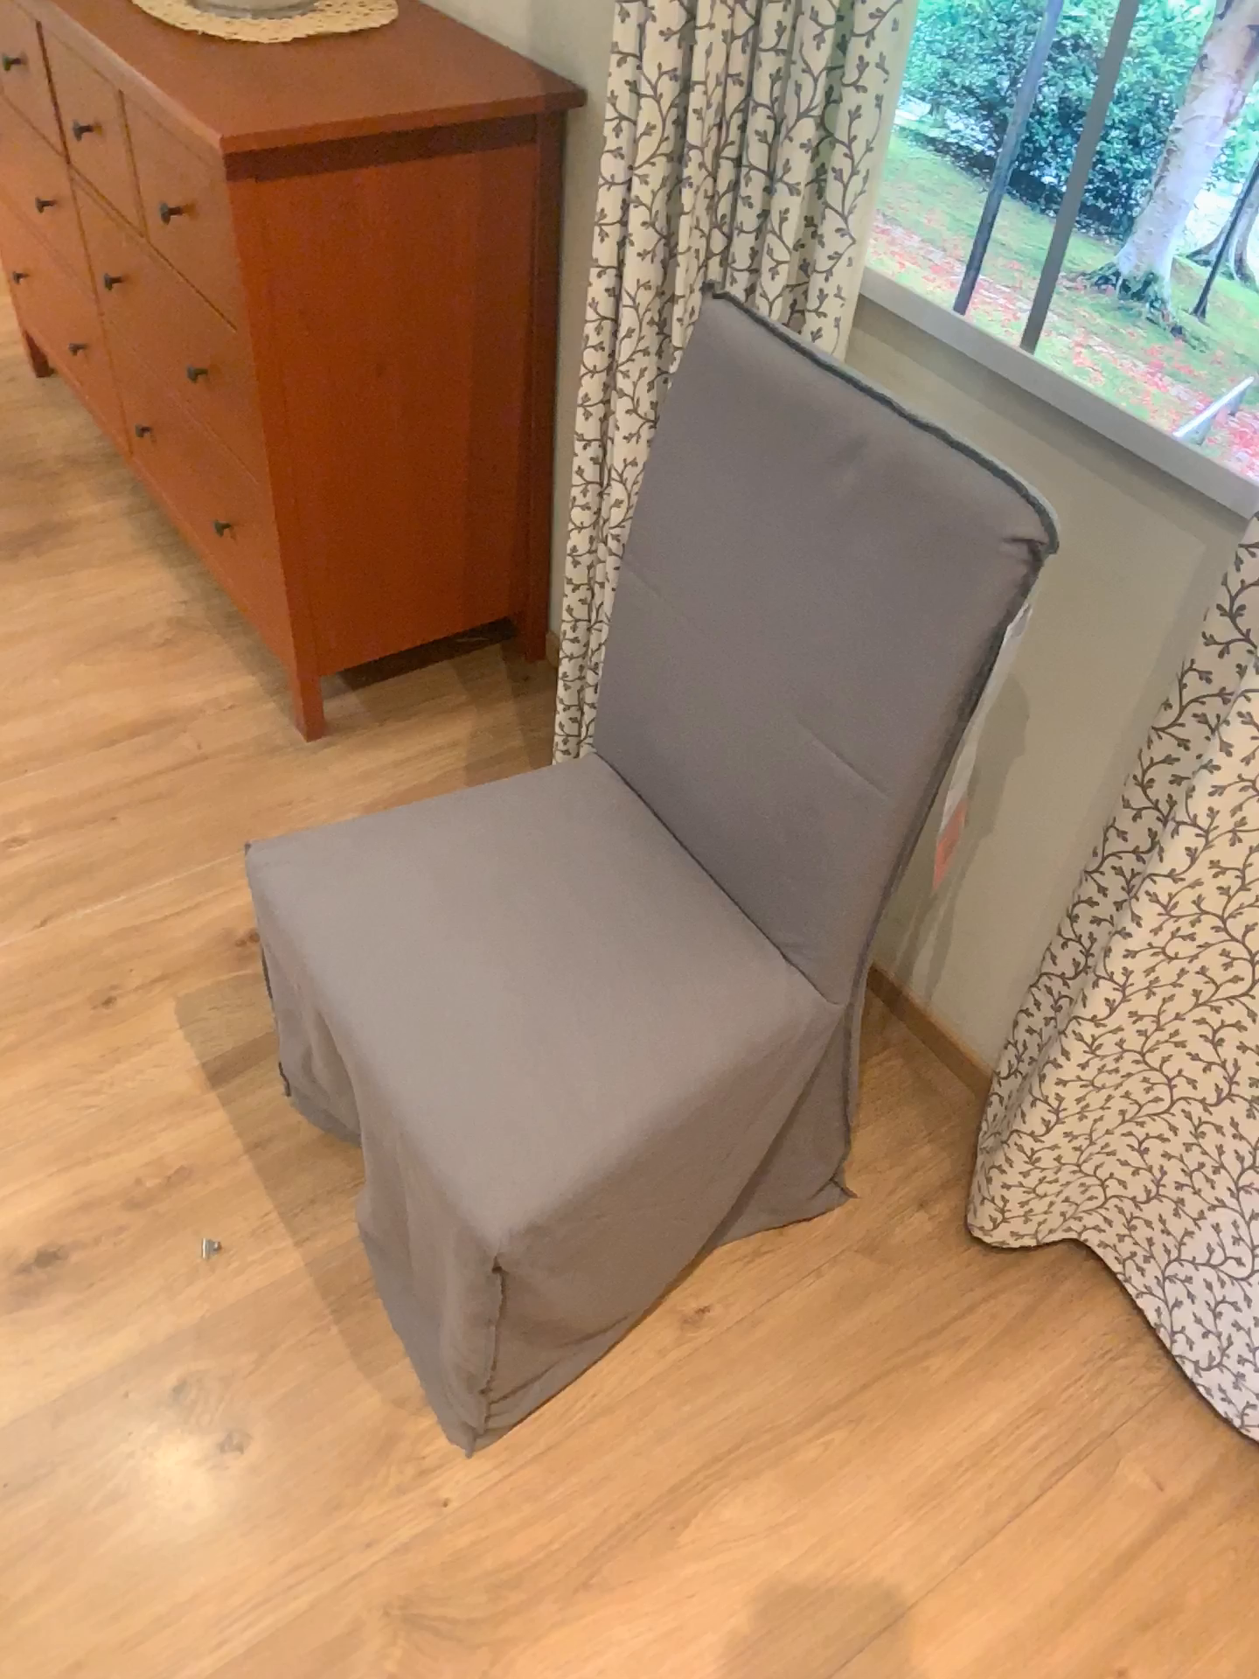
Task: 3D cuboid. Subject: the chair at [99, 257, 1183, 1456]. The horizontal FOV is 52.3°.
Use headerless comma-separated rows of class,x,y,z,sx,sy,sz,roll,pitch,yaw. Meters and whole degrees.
chair,-0.040,0.024,1.258,0.591,0.877,0.571,-22,51,-26
